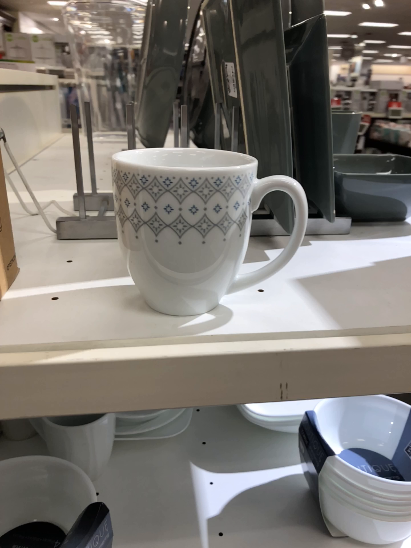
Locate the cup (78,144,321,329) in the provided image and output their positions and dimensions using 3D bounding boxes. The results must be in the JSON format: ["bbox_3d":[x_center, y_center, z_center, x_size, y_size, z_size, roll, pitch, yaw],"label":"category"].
[{"bbox_3d":[0.000,-0.032,0.320,0.136,0.099,0.099,1,24,5],"label":"cup"}]
